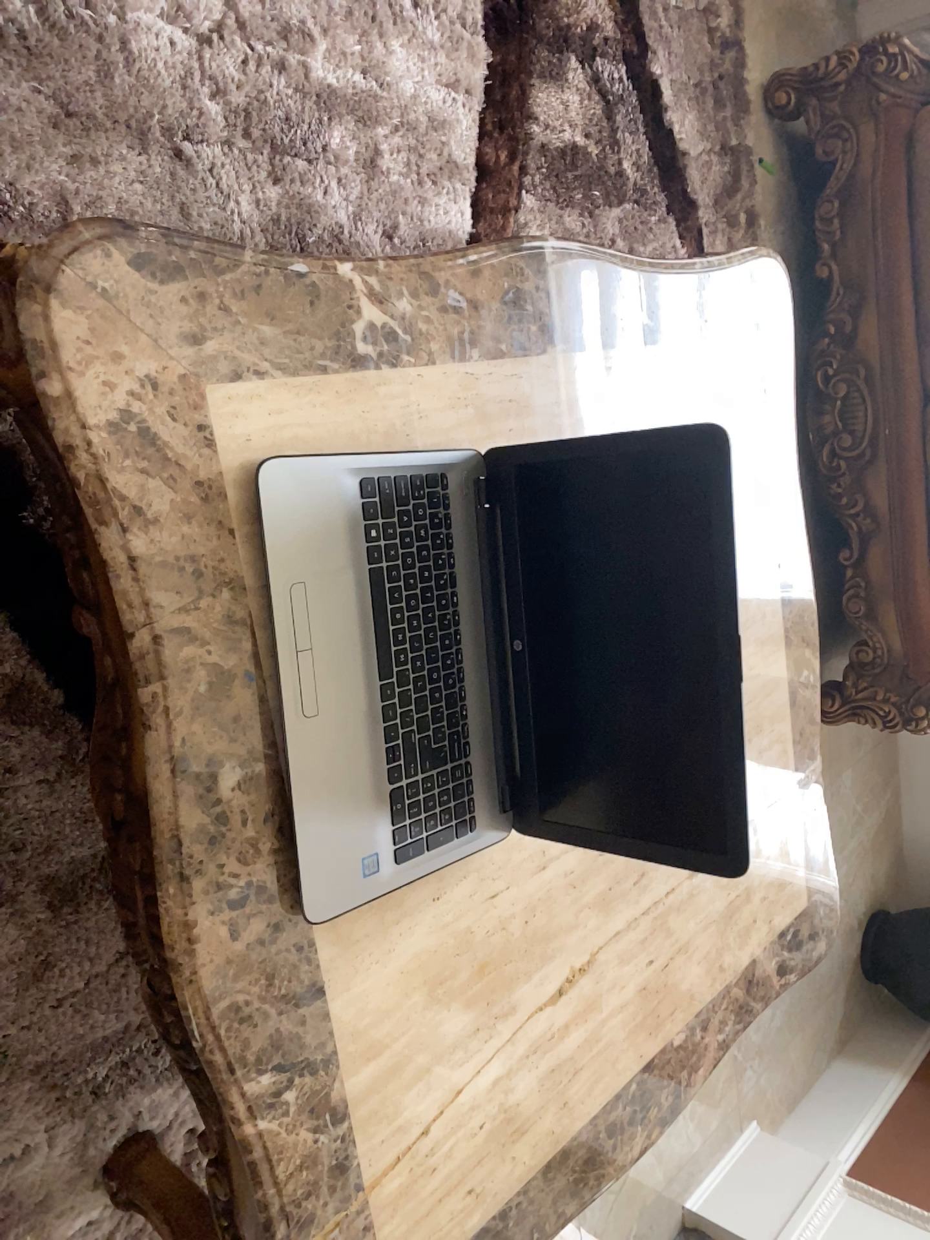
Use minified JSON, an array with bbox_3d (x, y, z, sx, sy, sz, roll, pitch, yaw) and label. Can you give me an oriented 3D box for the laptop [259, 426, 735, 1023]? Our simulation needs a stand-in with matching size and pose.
[{"bbox_3d":[0.035,0.047,0.749,0.266,0.240,0.371,-13,102,-45],"label":"laptop"}]
